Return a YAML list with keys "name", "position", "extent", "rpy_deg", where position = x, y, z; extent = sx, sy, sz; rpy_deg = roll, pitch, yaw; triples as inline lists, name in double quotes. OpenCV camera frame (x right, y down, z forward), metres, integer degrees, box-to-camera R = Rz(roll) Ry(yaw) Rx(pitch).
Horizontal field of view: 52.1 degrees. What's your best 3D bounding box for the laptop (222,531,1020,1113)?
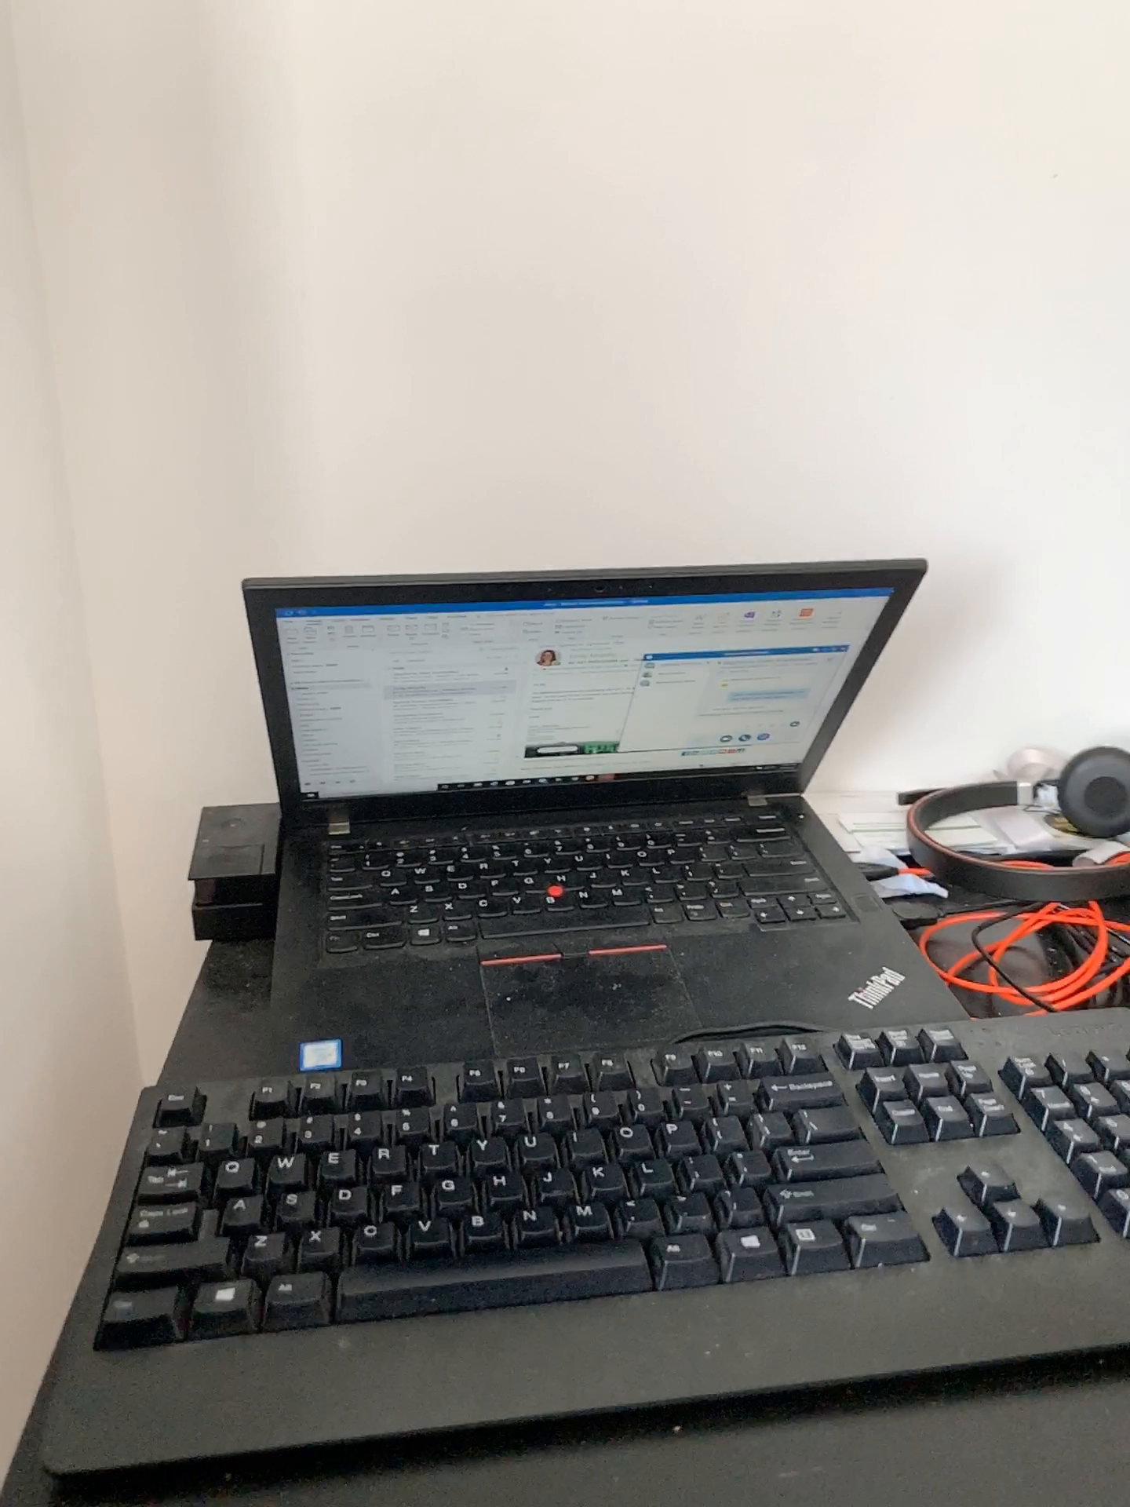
- name: "laptop"
  position: [0.013, 0.007, 0.600]
  extent: [0.335, 0.172, 0.237]
  rpy_deg: [-4, 23, -11]
